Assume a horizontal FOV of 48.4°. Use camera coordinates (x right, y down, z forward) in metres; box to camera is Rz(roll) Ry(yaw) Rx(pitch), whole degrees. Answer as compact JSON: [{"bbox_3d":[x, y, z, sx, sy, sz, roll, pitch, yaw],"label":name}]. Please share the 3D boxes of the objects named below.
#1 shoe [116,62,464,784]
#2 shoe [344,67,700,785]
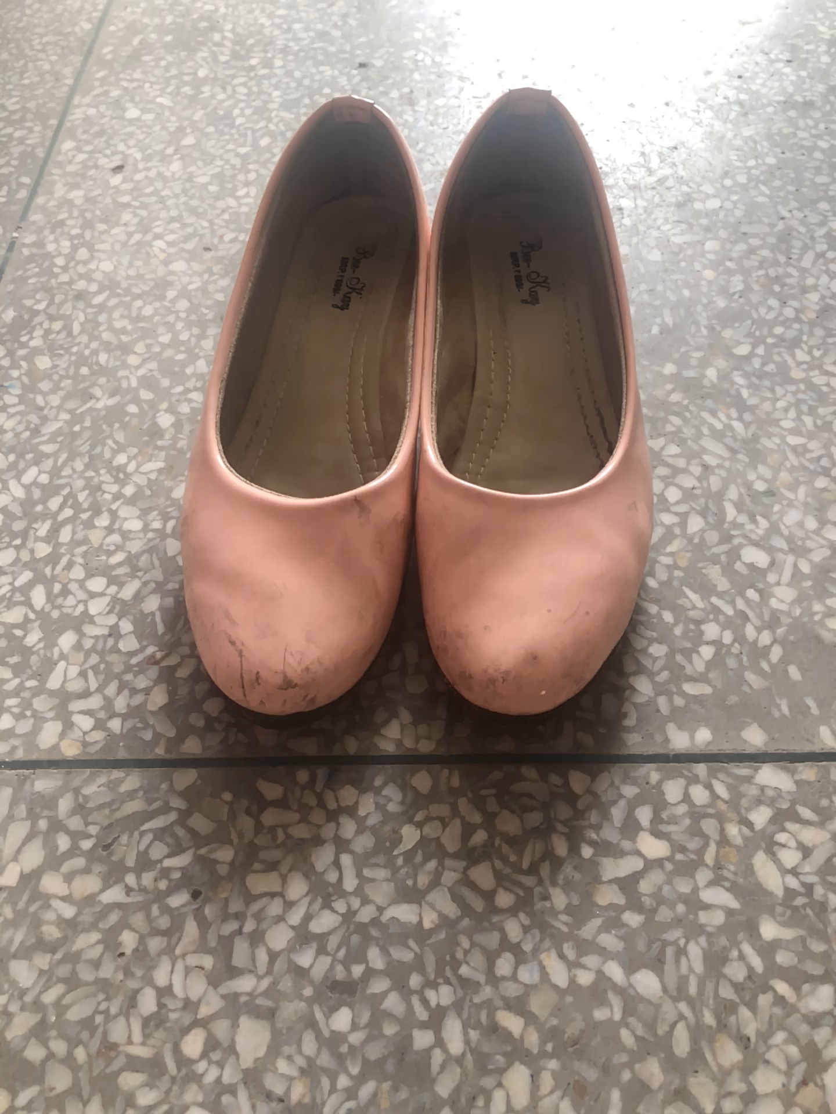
[{"bbox_3d":[-0.033,-0.056,0.342,0.090,0.070,0.260,1,68,4],"label":"shoe"},{"bbox_3d":[0.035,-0.060,0.330,0.090,0.070,0.260,1,61,4],"label":"shoe"}]
